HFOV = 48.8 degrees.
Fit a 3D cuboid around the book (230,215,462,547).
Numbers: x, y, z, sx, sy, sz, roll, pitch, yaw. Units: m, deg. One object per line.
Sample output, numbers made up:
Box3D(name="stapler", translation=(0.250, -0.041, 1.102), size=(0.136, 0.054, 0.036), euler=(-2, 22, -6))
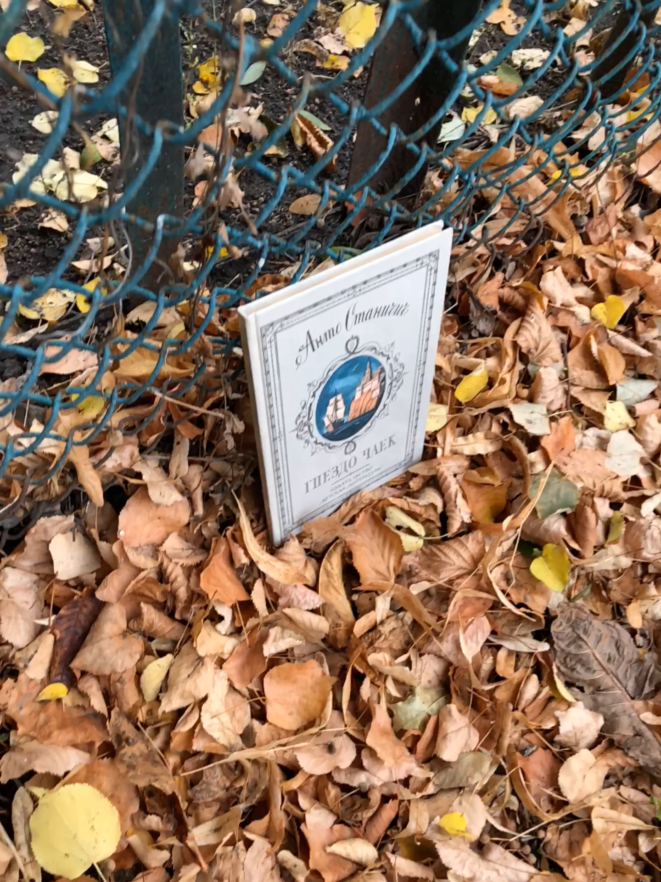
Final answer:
Box3D(name="book", translation=(0.011, -0.025, 0.439), size=(0.128, 0.200, 0.016), euler=(-27, 56, -21))
